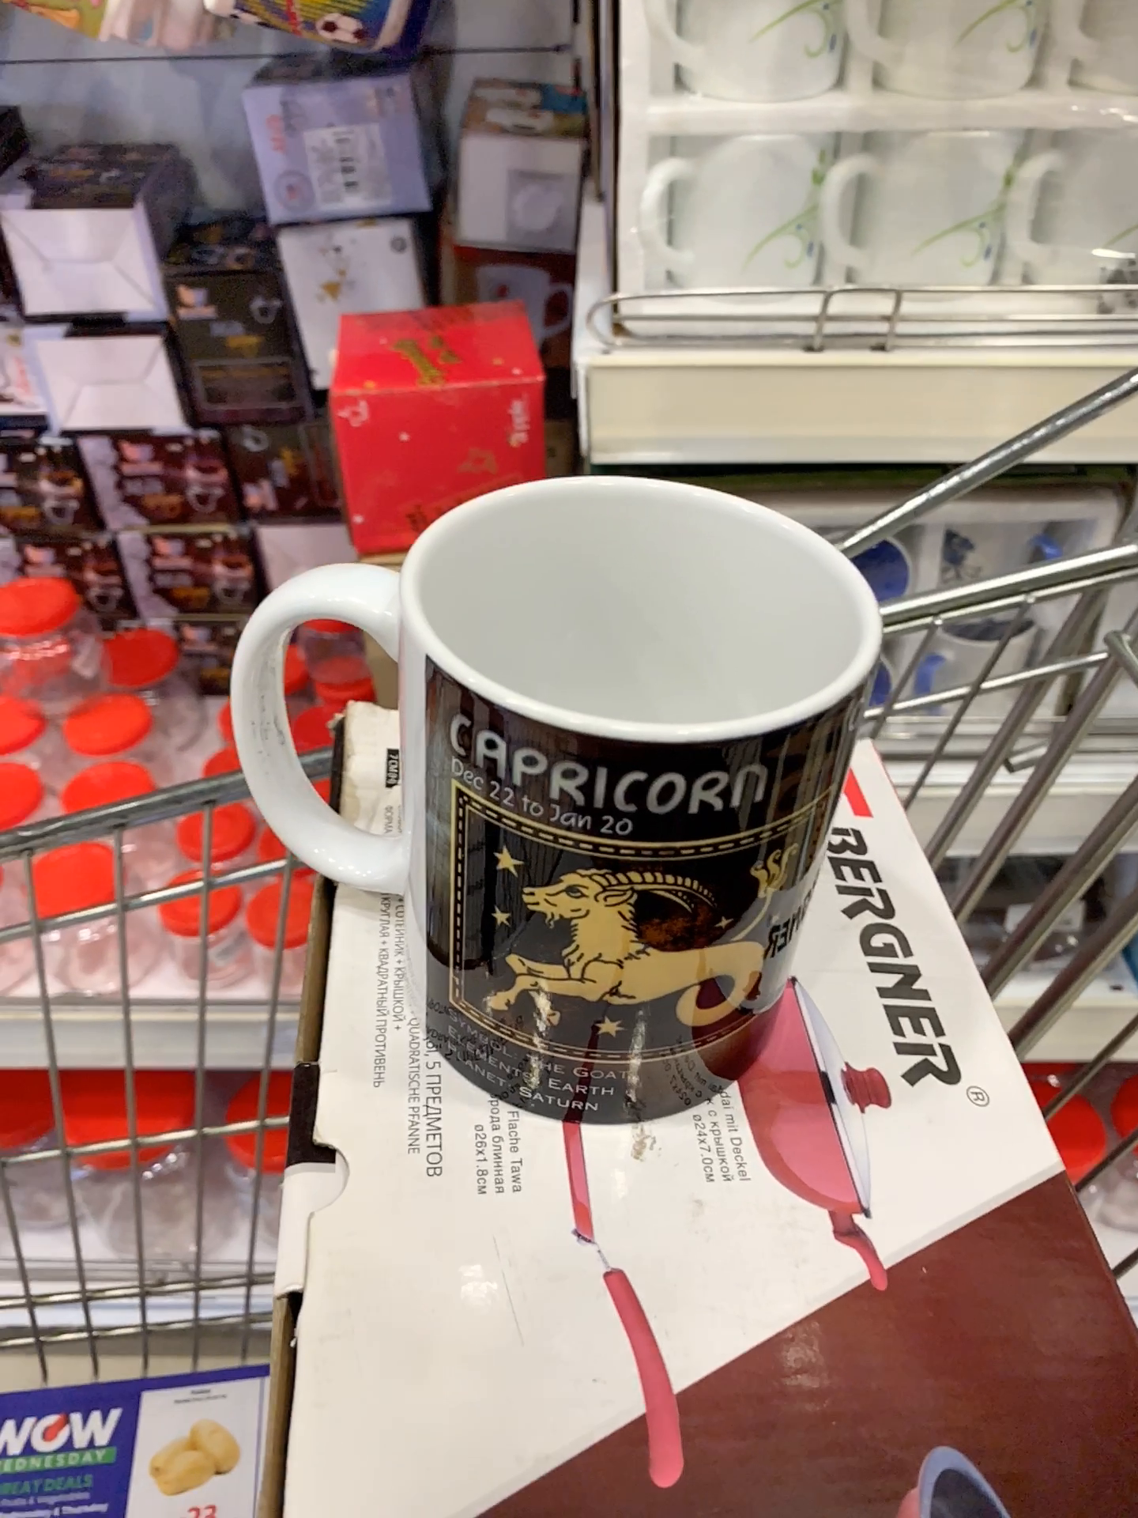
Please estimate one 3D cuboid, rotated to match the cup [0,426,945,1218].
[{"bbox_3d":[-0.011,0.009,0.204,0.120,0.090,0.080,8,41,5],"label":"cup"}]
